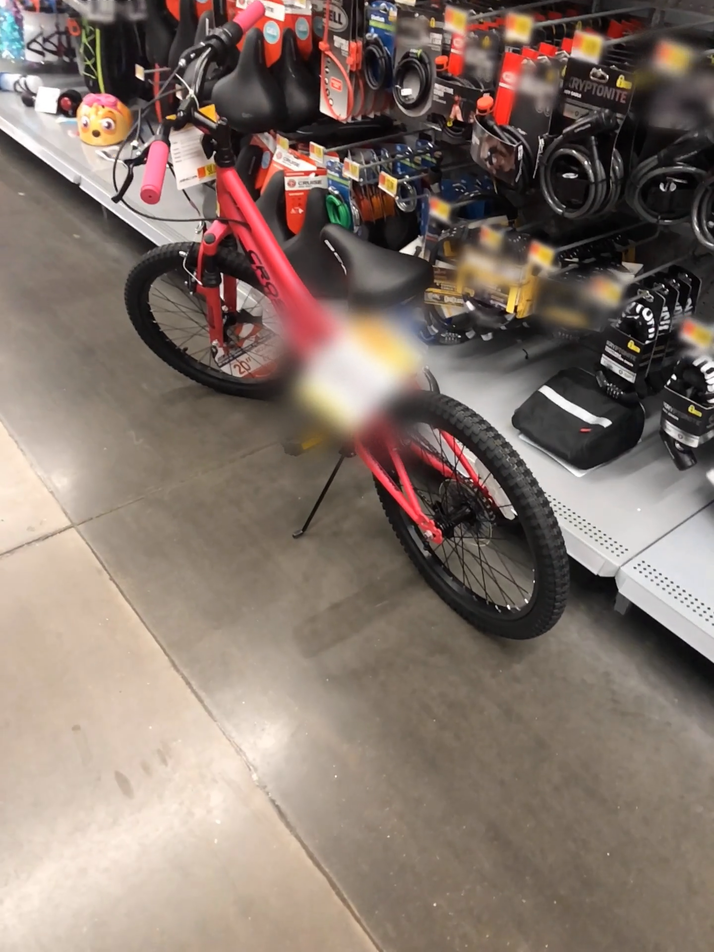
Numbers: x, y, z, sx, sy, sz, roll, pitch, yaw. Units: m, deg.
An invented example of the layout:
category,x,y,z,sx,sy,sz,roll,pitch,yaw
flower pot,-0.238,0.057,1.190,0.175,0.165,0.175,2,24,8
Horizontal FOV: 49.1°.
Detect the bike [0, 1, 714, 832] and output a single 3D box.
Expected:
category,x,y,z,sx,sy,sz,roll,pitch,yaw
bike,-0.177,-0.216,1.365,0.609,0.877,1.227,-29,48,-32
